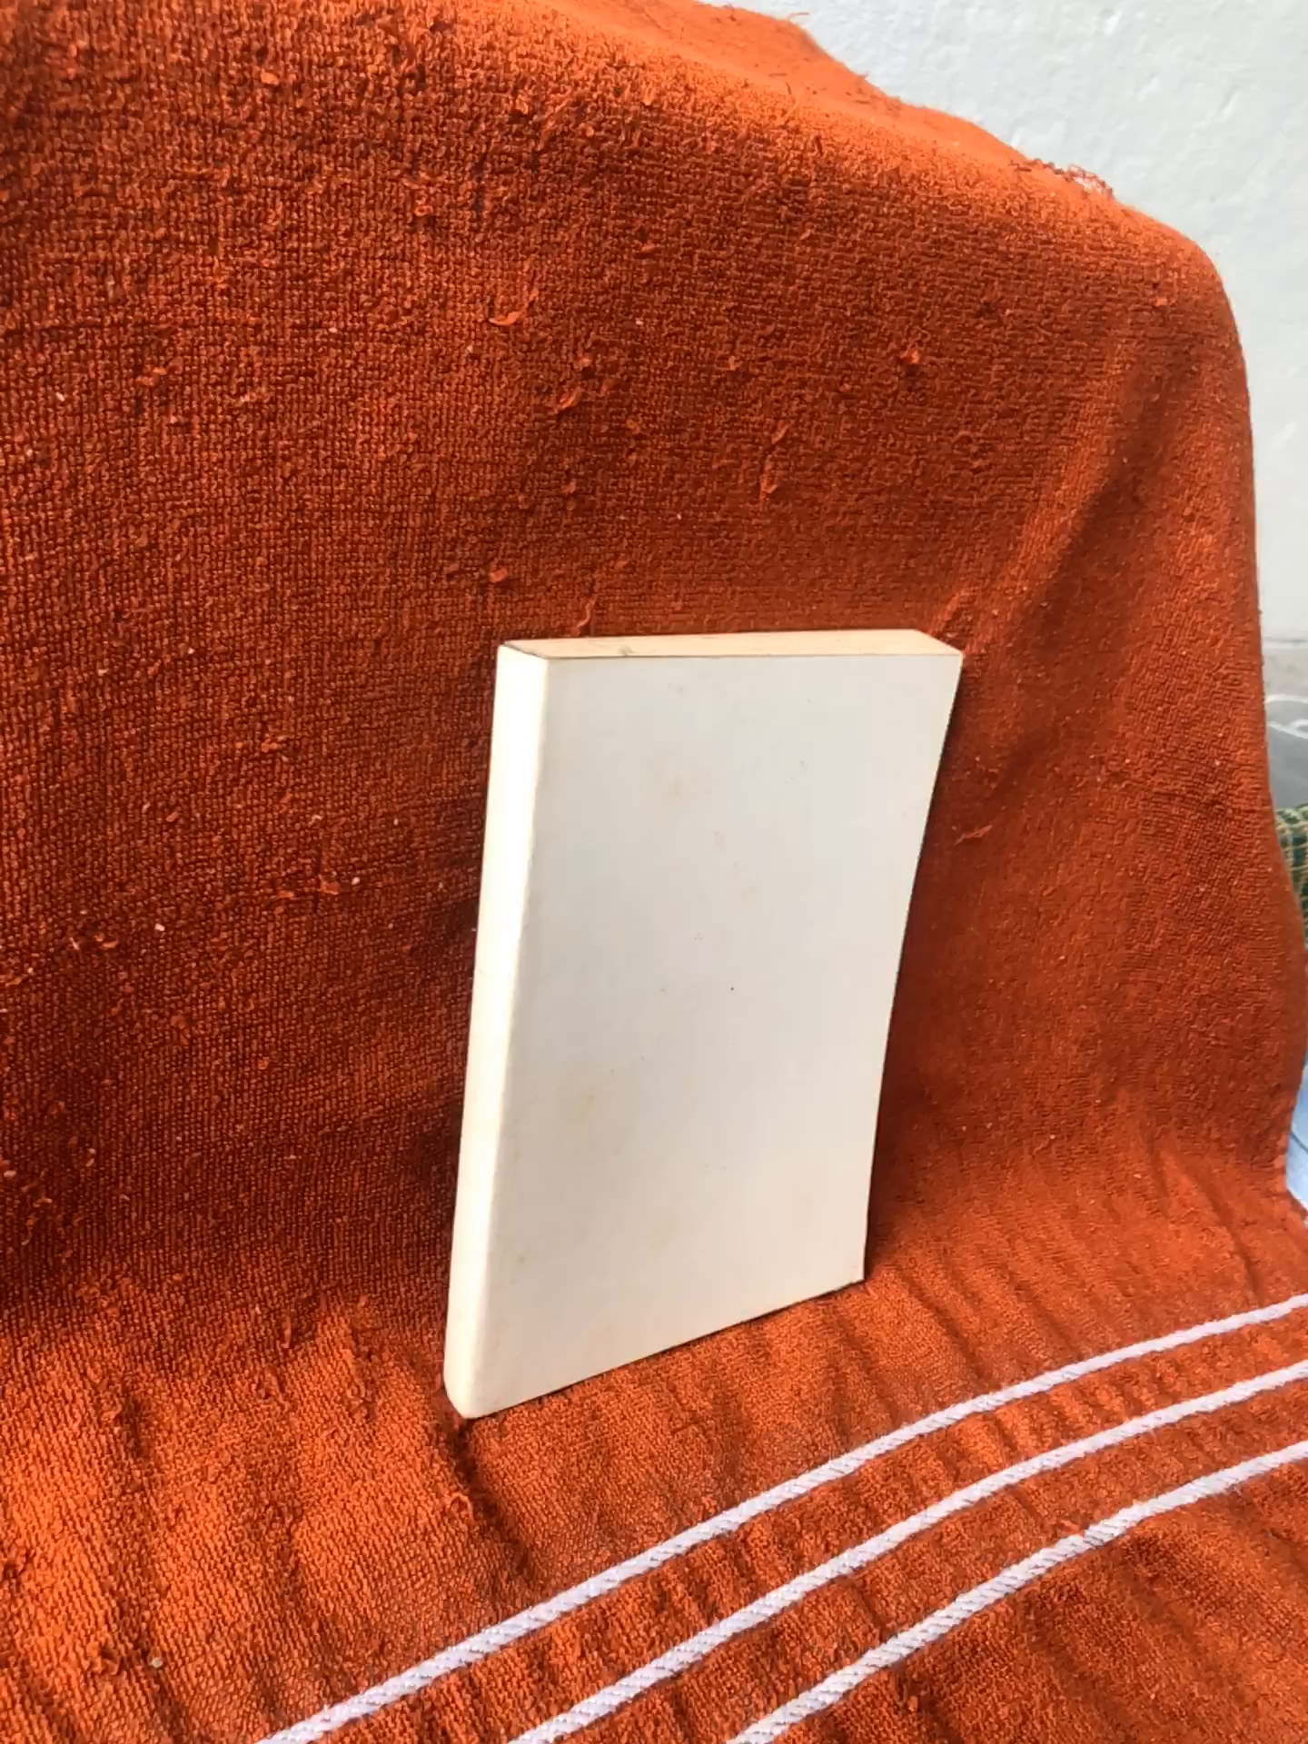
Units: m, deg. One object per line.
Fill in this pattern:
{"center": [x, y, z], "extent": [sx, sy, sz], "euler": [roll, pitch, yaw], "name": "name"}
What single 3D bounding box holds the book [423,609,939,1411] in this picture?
{"center": [0.011, 0.030, 0.408], "extent": [0.151, 0.200, 0.030], "euler": [-5, 13, -37], "name": "book"}
